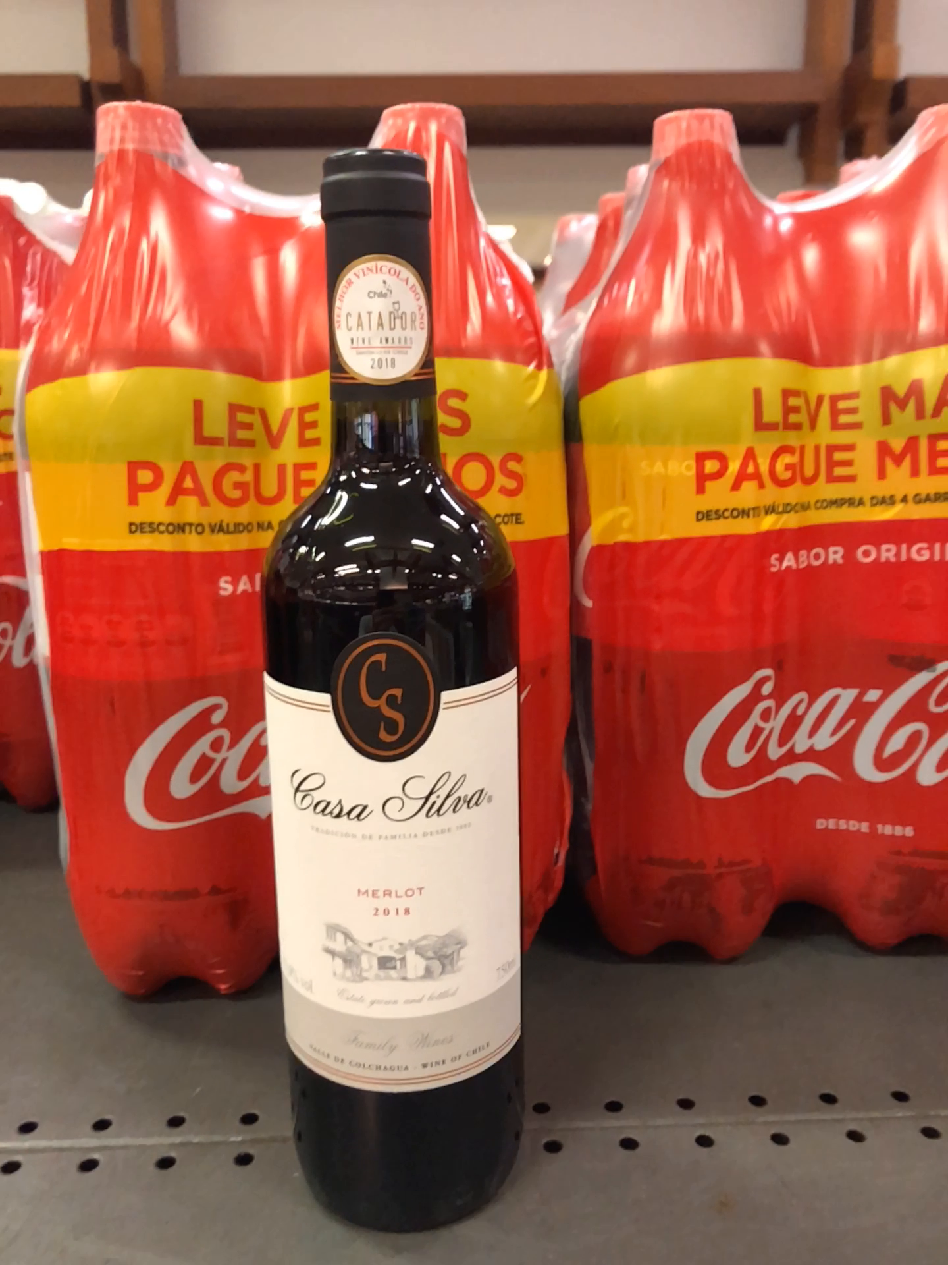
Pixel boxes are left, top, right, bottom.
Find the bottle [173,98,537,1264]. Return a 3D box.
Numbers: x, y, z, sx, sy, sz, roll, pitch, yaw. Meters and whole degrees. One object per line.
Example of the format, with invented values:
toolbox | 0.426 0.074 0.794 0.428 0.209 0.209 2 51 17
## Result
bottle | -0.026 0.024 0.302 0.080 0.309 0.070 -1 13 -2
